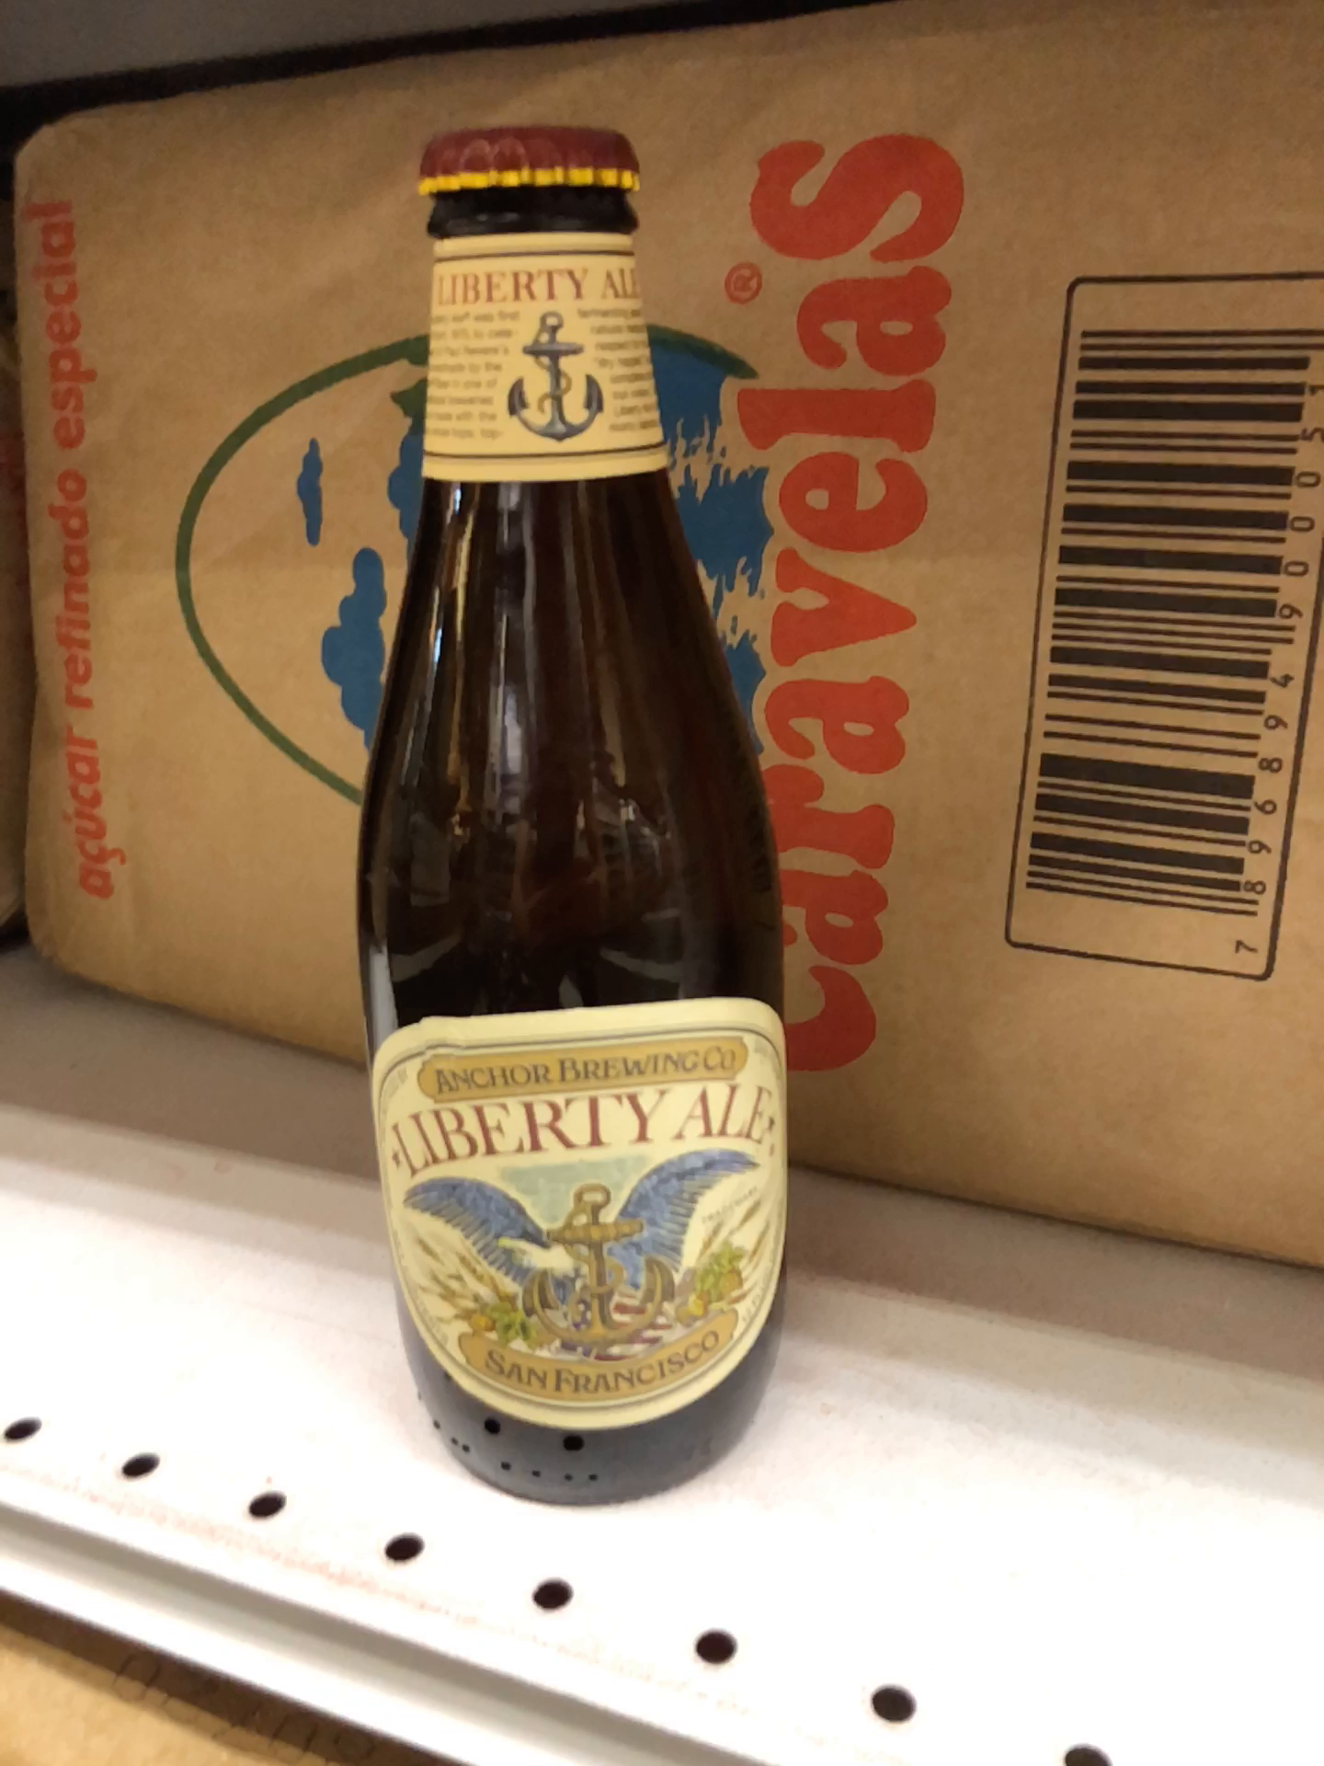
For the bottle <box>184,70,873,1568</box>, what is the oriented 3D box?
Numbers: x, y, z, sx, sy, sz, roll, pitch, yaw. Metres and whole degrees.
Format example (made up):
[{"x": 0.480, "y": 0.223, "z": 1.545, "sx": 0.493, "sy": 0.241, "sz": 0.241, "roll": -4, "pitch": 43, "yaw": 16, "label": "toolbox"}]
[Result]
[{"x": -0.013, "y": -0.005, "z": 0.213, "sx": 0.070, "sy": 0.189, "sz": 0.070, "roll": -1, "pitch": 19, "yaw": 0, "label": "bottle"}]
